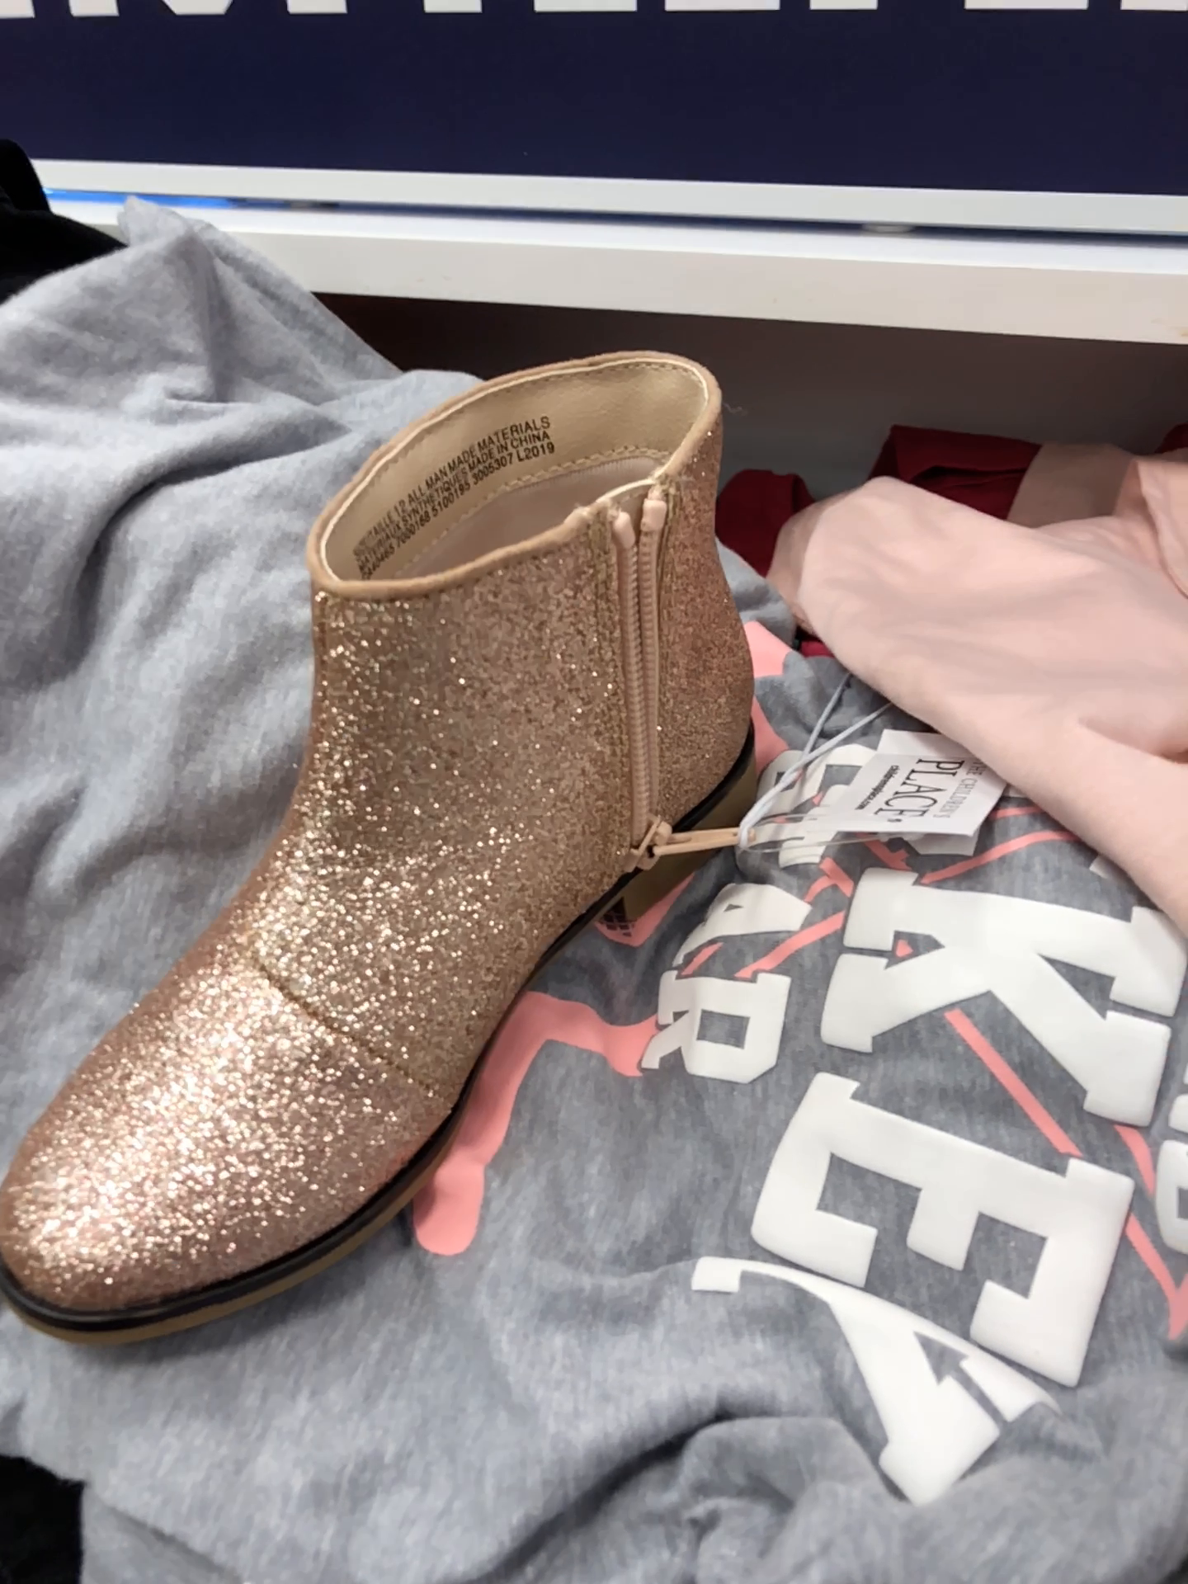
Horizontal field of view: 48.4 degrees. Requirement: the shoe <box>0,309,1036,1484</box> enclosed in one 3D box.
[{"bbox_3d":[-0.017,-0.005,0.275,0.084,0.129,0.237,28,43,37],"label":"shoe"}]
